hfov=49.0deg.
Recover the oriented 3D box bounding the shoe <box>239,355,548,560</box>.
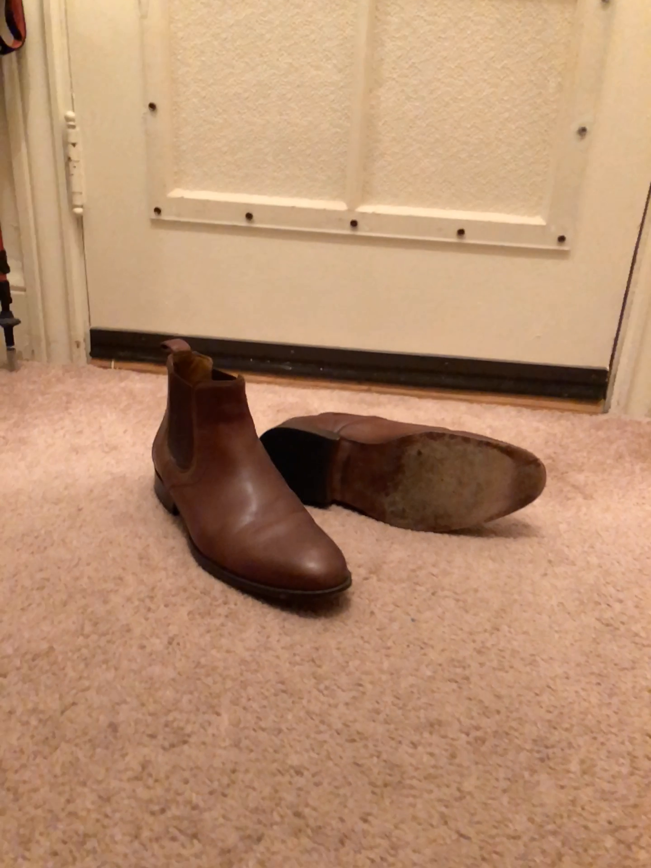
[{"bbox_3d":[0.077,0.014,0.782,0.296,0.118,0.170,10,23,11],"label":"shoe"}]

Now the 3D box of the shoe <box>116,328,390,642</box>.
[{"bbox_3d":[-0.084,0.023,0.657,0.109,0.158,0.297,-12,28,-32],"label":"shoe"}]
